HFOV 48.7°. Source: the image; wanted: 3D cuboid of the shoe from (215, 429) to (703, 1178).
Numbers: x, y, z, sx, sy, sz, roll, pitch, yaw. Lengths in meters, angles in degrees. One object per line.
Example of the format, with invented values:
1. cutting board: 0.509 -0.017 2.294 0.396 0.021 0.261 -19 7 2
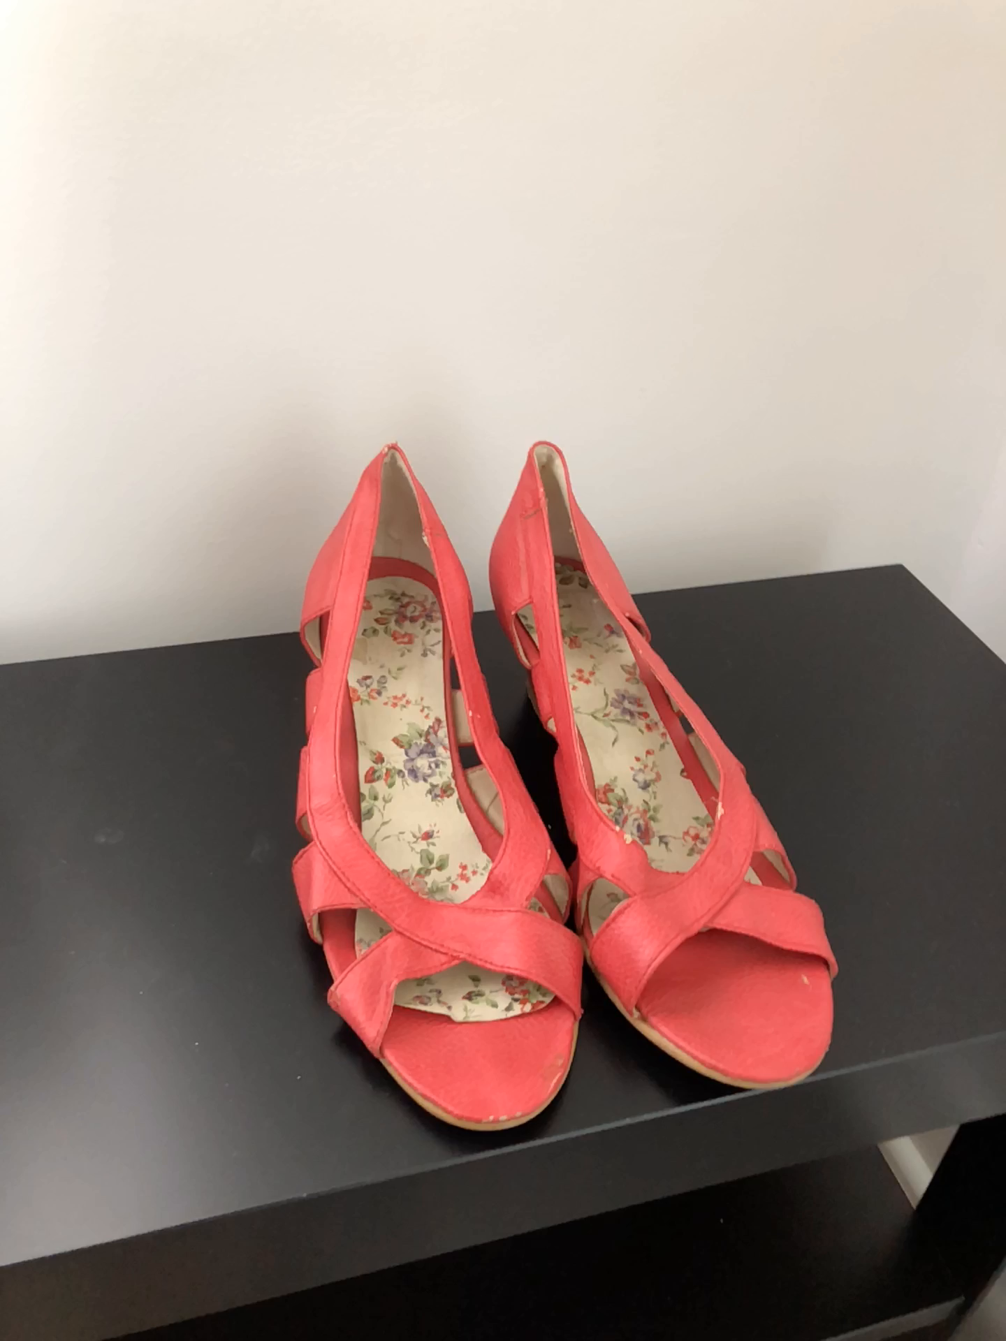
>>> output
1. shoe: -0.031 0.020 0.350 0.087 0.100 0.221 -8 38 -15

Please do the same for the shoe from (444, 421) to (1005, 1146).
1. shoe: 0.048 0.015 0.366 0.077 0.100 0.231 -8 38 -15
